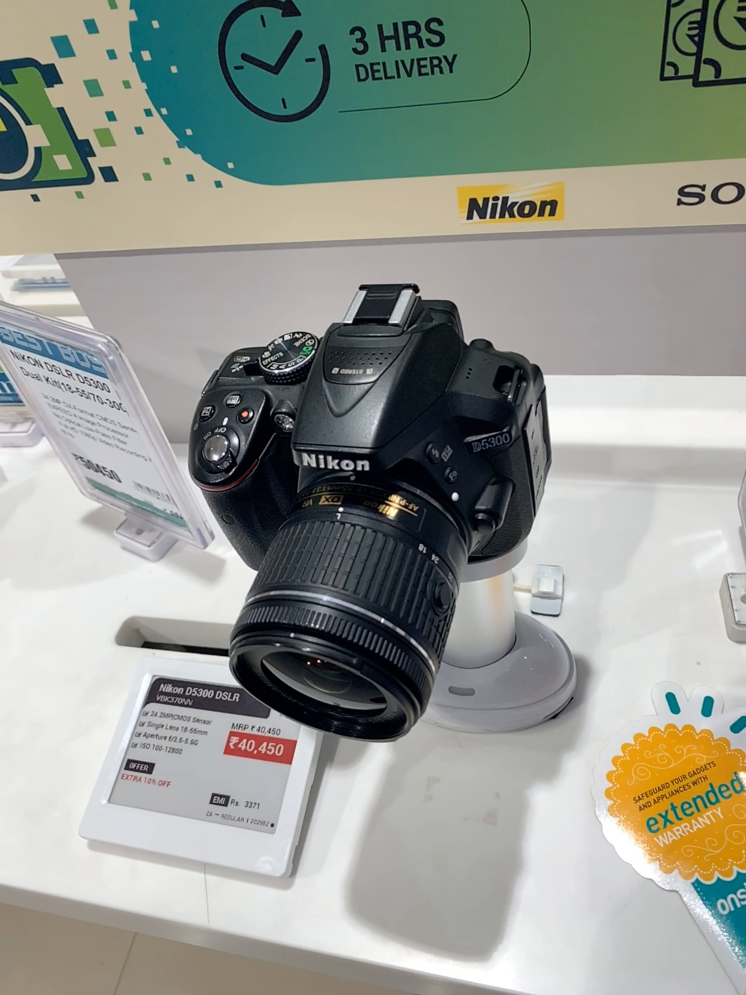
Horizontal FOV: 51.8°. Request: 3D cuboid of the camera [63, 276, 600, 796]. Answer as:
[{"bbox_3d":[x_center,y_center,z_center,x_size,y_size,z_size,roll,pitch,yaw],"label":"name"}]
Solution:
[{"bbox_3d":[0.004,0.005,0.233,0.118,0.082,0.123,3,48,15],"label":"camera"}]
